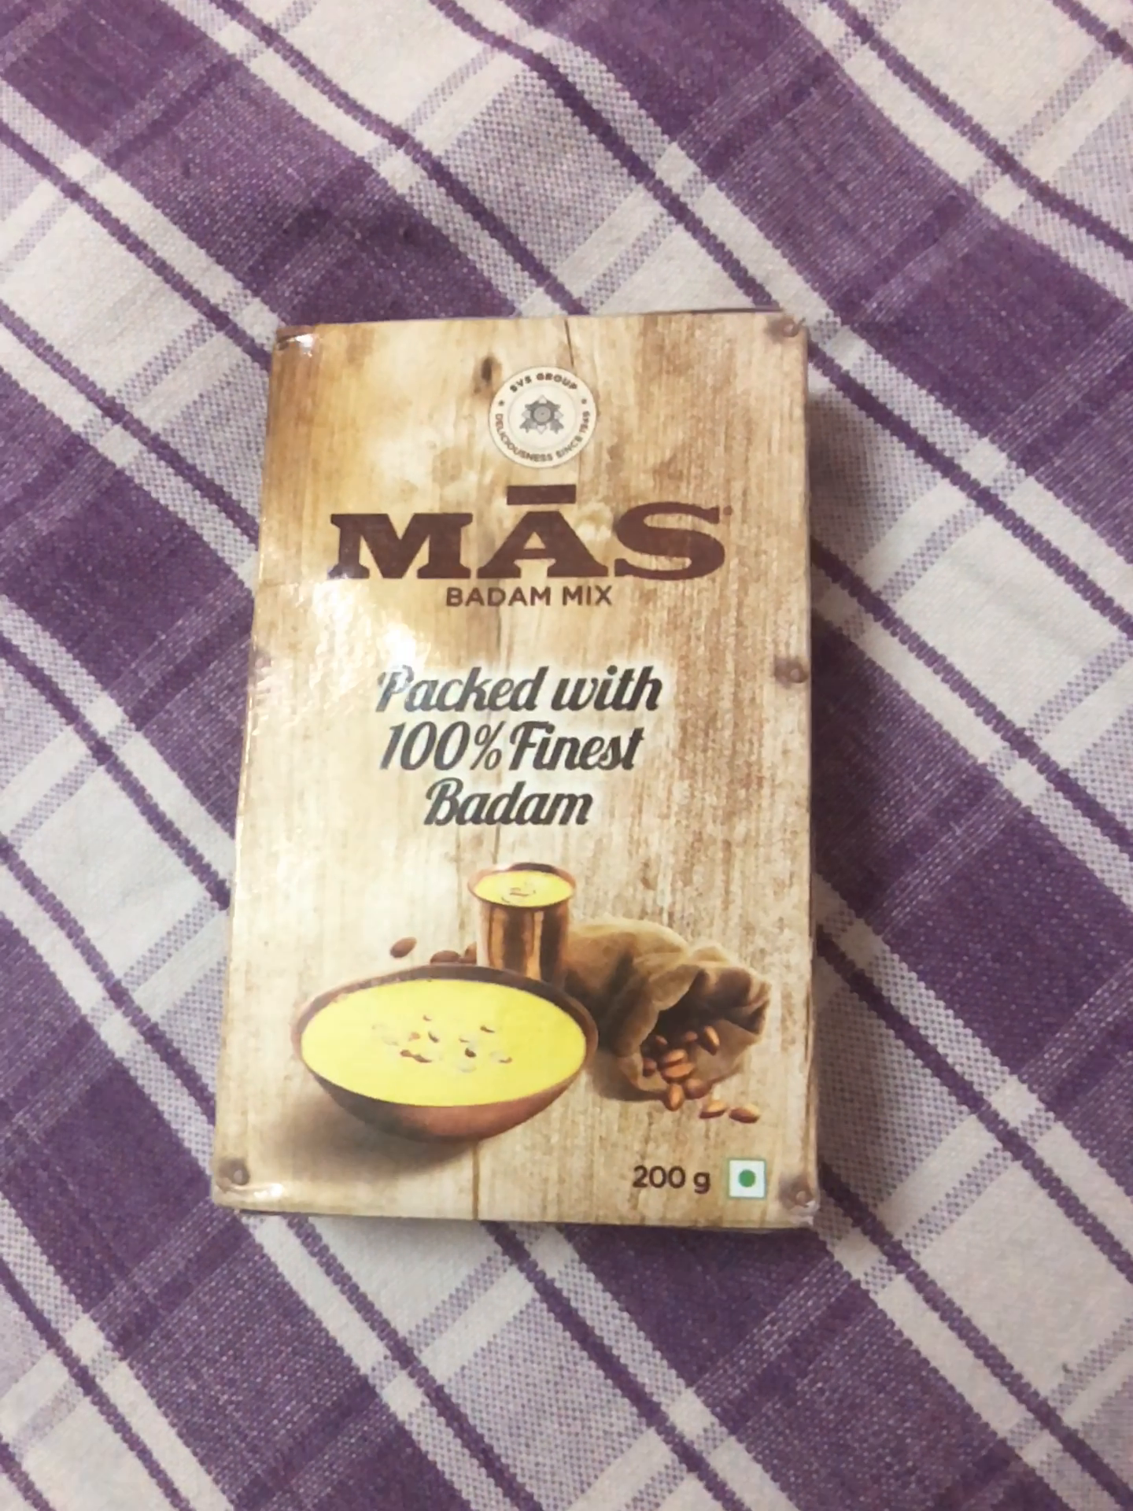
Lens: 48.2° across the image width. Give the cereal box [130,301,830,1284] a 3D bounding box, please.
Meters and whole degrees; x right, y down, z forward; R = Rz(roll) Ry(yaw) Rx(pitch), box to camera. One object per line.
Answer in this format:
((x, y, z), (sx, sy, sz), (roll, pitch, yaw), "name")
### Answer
((-0.009, 0.003, 0.186), (0.090, 0.030, 0.130), (1, 80, 7), "cereal box")
